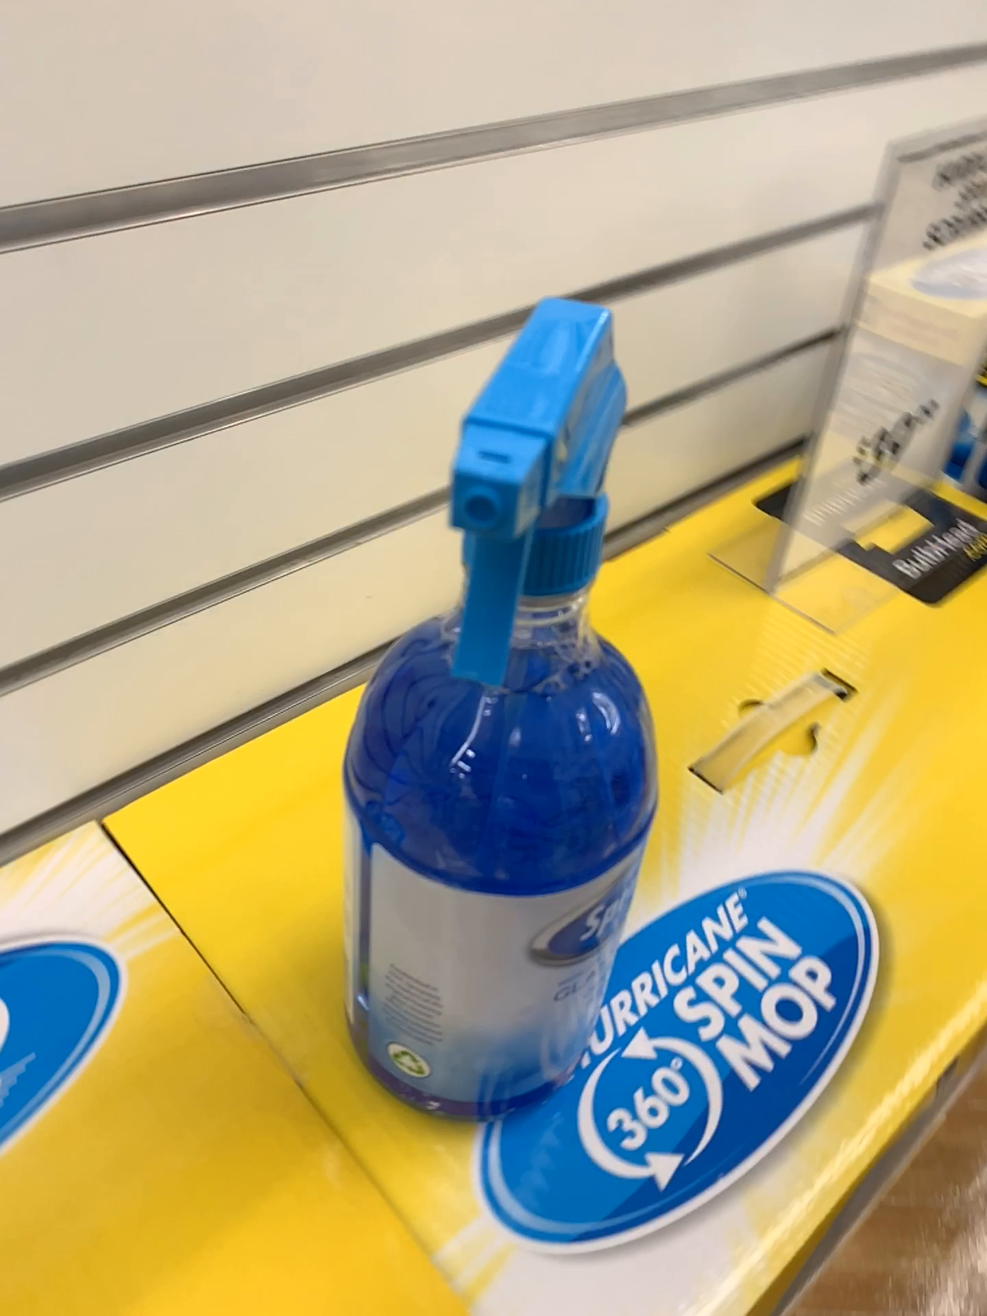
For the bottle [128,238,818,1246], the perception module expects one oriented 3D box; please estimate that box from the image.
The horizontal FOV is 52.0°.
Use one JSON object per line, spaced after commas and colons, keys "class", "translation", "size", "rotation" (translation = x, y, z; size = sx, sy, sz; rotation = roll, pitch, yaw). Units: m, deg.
{"class": "bottle", "translation": [-0.003, 0.036, 0.268], "size": [0.090, 0.239, 0.110], "rotation": [20, 43, 16]}
